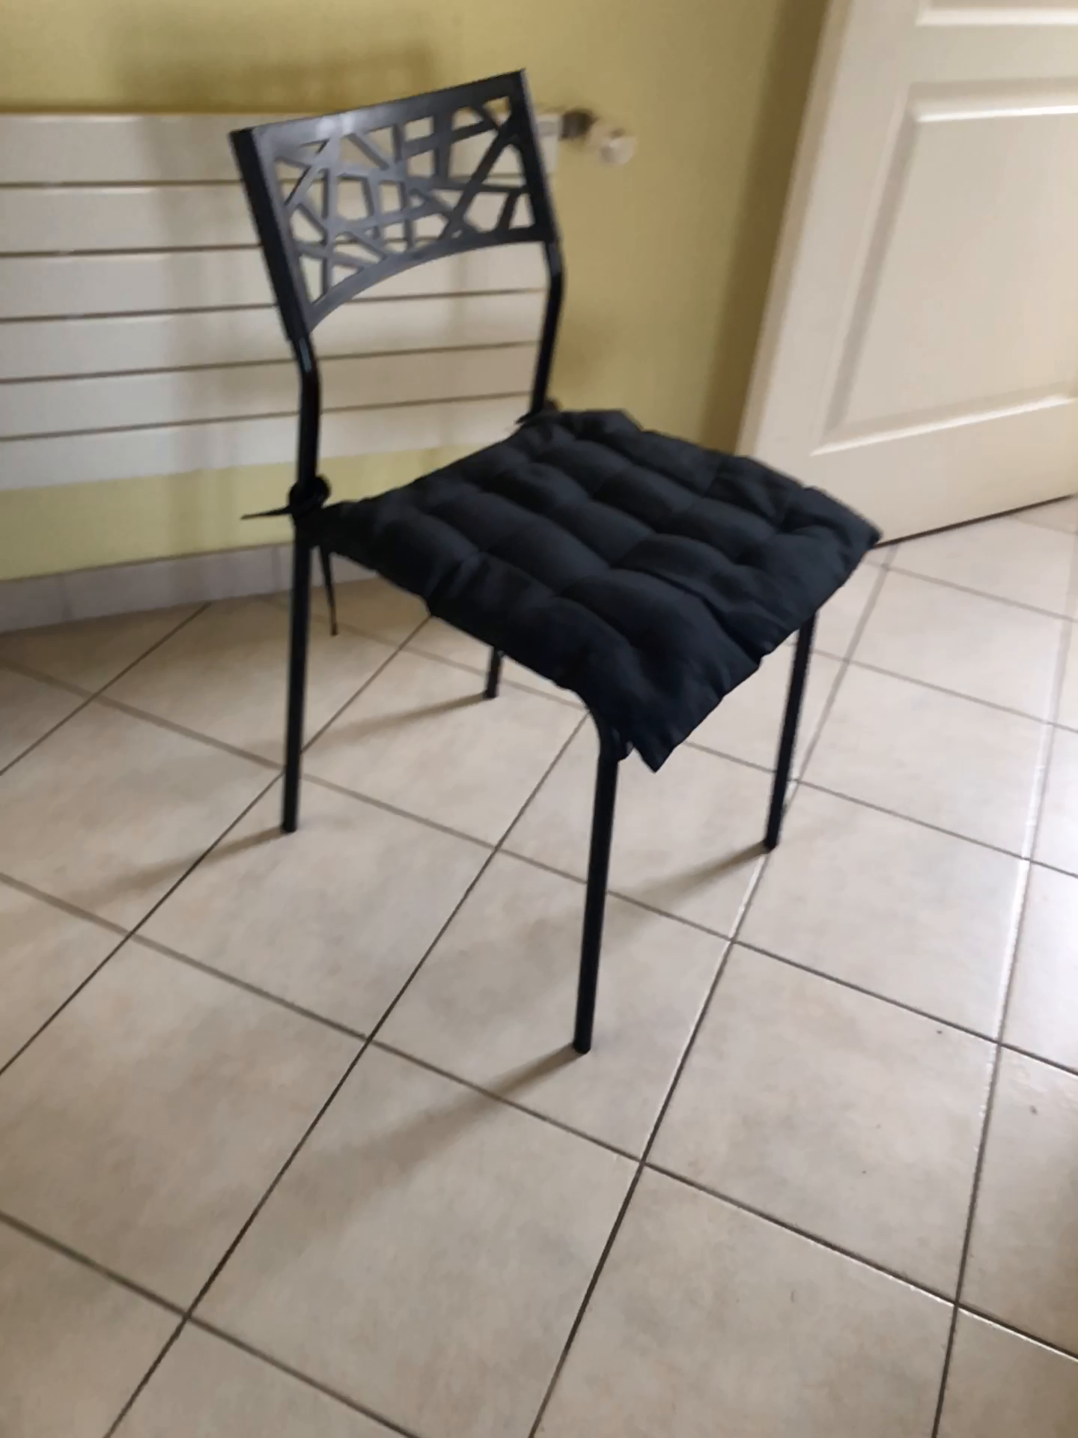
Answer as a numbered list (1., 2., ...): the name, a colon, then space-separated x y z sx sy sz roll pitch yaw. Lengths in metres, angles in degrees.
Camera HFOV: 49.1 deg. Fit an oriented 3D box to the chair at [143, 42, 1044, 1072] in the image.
1. chair: 0.037 -0.180 1.180 0.520 0.735 0.524 29 45 25
